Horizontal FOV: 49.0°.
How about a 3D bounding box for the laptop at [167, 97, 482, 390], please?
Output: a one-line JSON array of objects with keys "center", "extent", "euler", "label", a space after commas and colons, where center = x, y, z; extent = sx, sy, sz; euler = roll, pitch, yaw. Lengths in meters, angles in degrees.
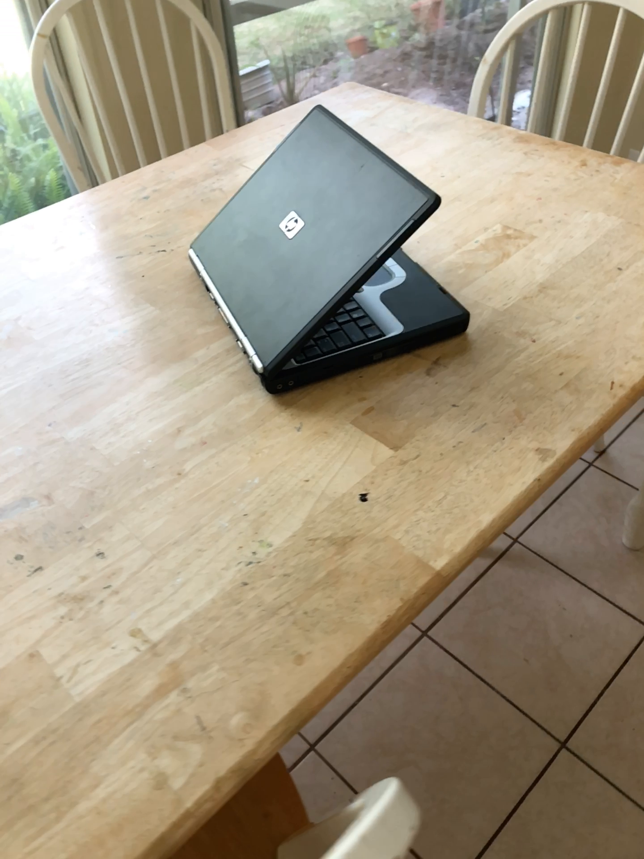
[{"center": [-0.010, -0.240, 0.854], "extent": [0.255, 0.162, 0.307], "euler": [-20, 46, -13], "label": "laptop"}]
